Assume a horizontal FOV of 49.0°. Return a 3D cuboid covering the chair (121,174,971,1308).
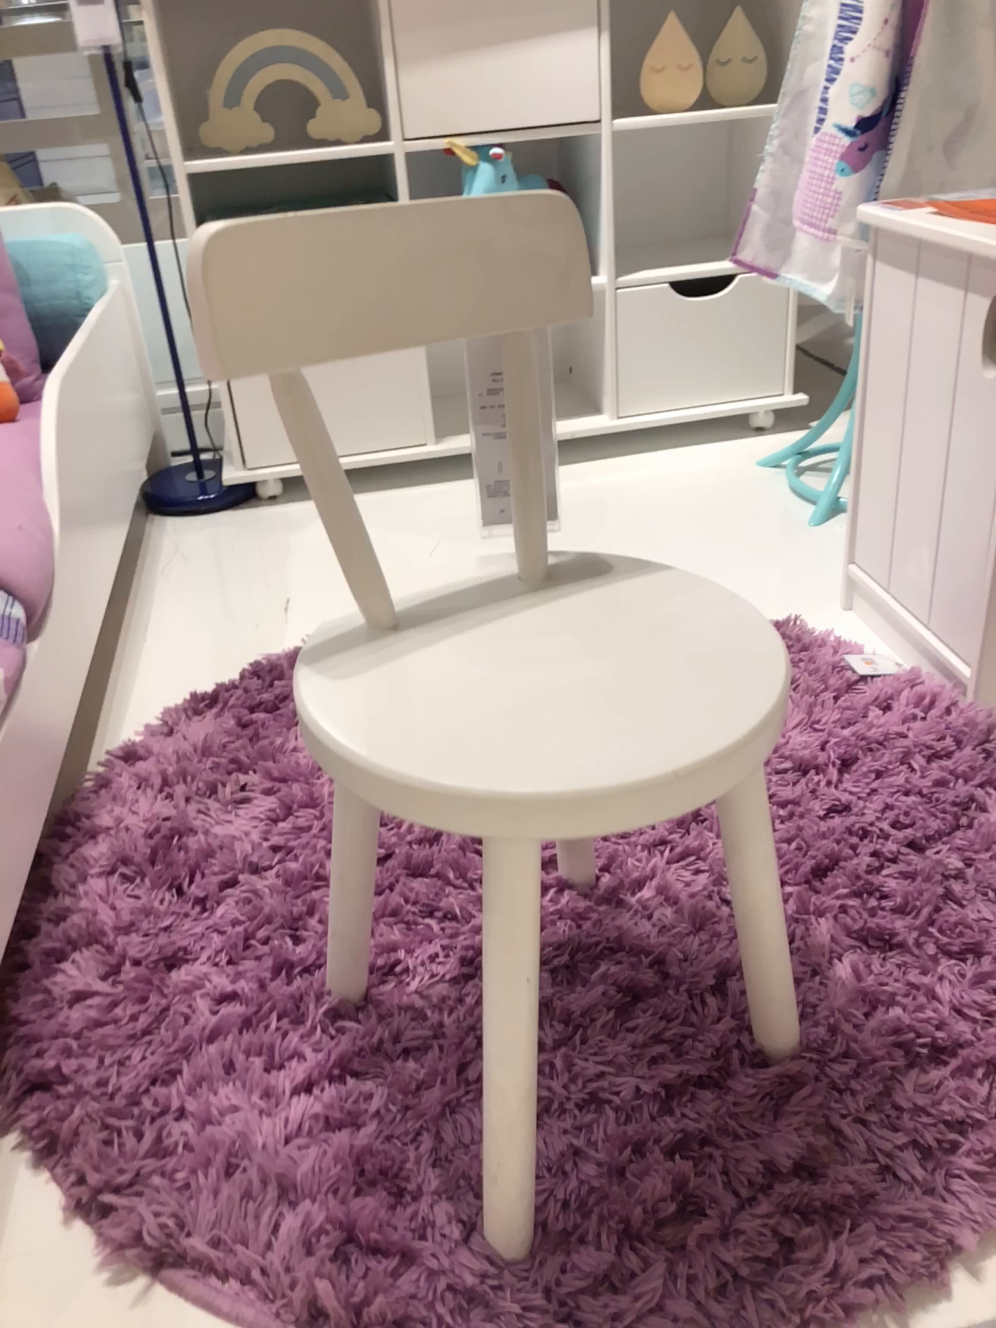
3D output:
[{"bbox_3d":[0.031,0.024,0.706,0.321,0.576,0.312,-21,33,-27],"label":"chair"}]
